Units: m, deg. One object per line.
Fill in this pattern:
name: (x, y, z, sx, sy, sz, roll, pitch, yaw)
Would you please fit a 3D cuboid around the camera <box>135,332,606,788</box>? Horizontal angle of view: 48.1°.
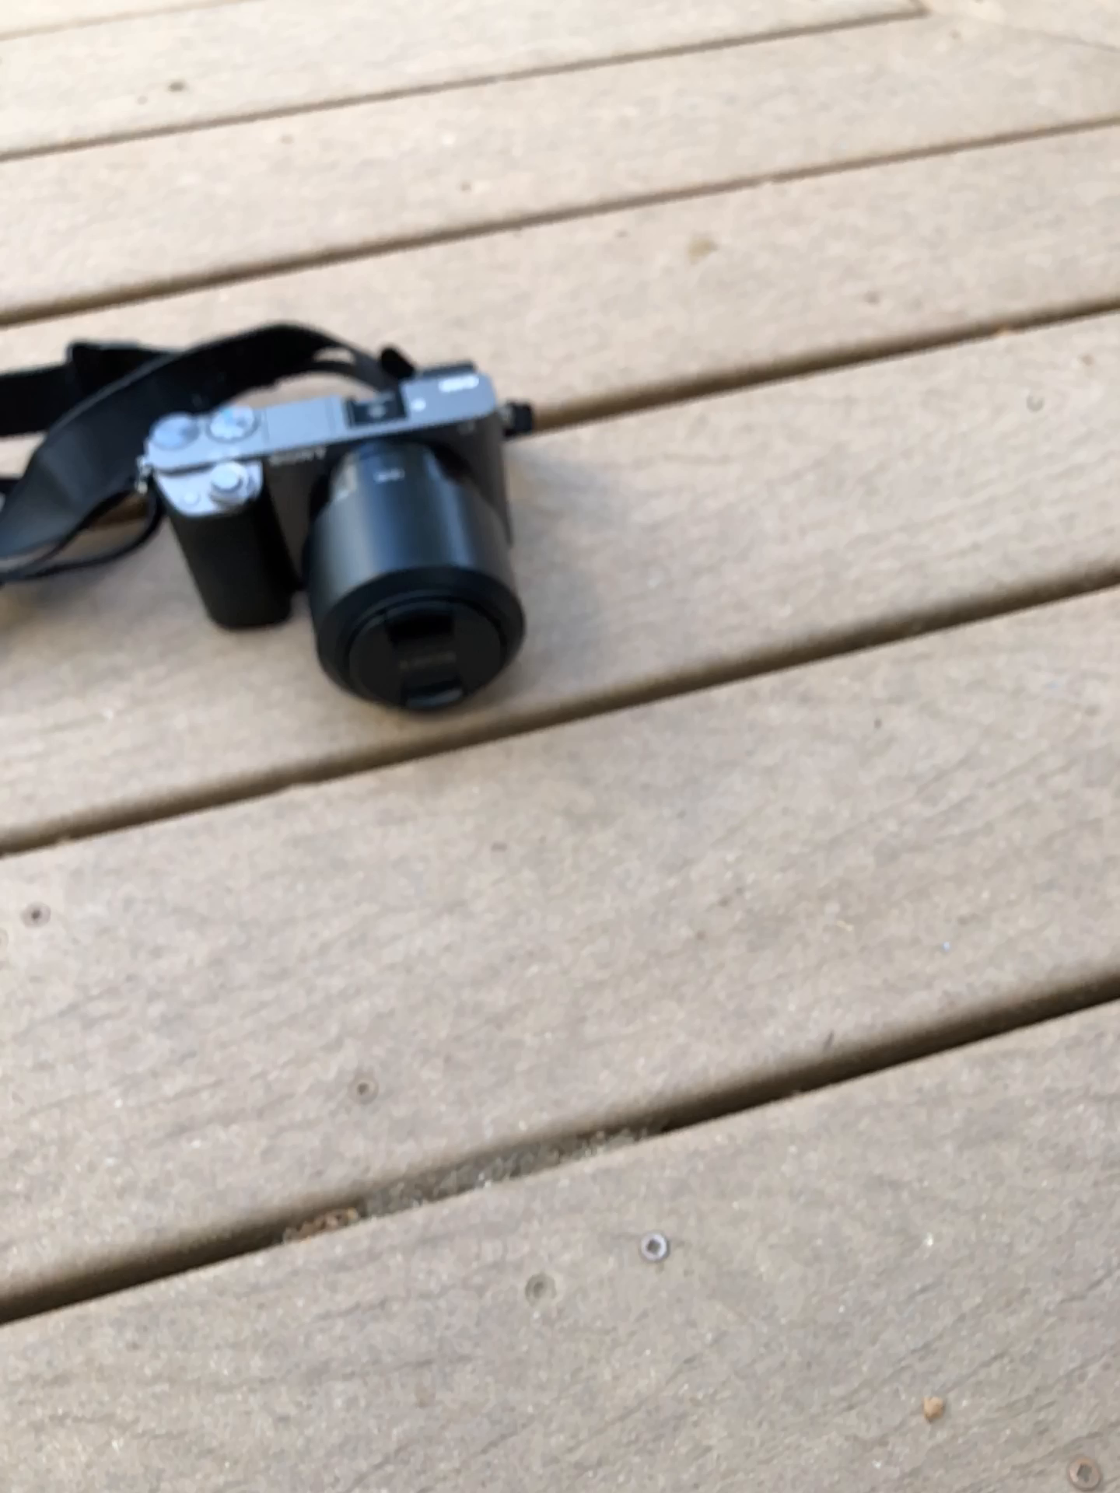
camera: (-0.061, -0.063, 0.409, 0.130, 0.070, 0.110, -11, 54, -7)
